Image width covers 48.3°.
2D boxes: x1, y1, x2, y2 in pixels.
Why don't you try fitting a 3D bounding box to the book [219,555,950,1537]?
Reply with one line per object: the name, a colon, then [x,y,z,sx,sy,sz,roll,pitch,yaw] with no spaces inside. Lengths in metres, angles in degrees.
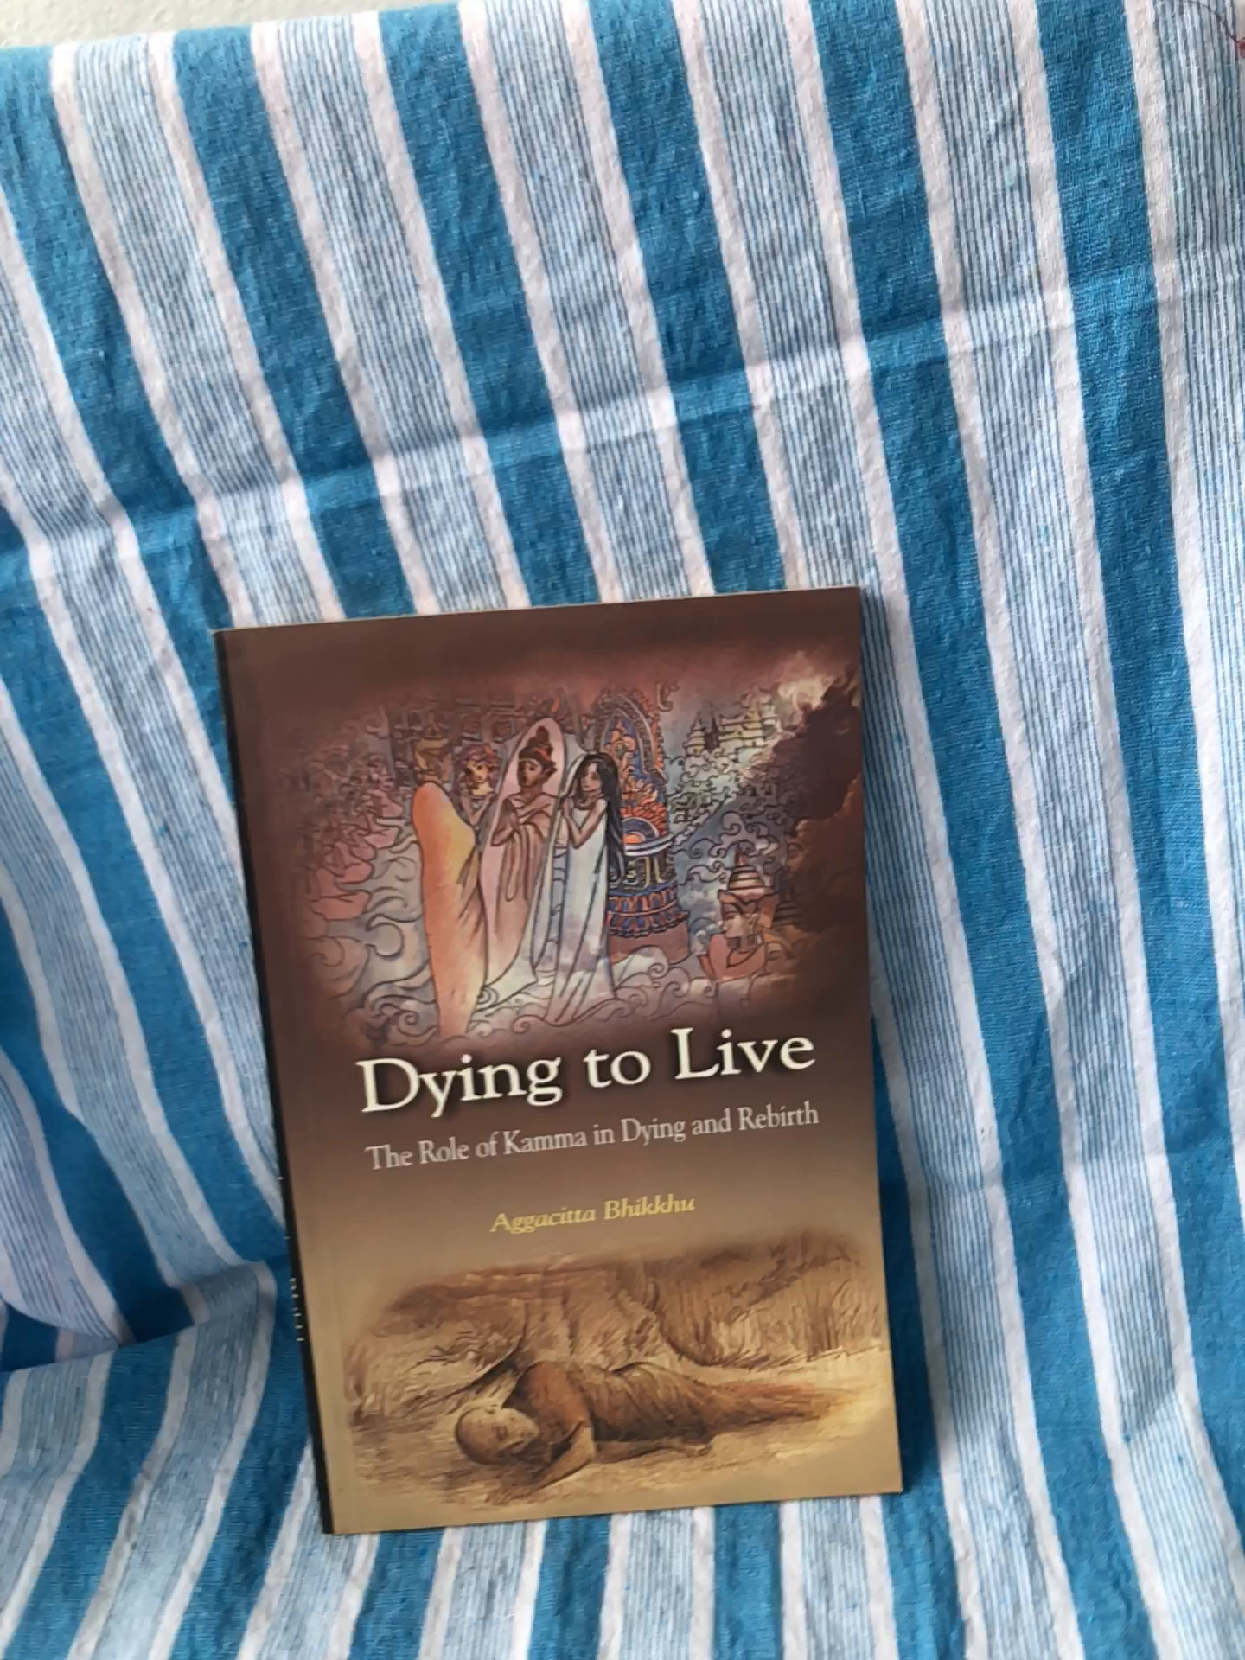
book: [-0.005,0.048,0.313,0.150,0.210,0.020,-3,5,-3]
